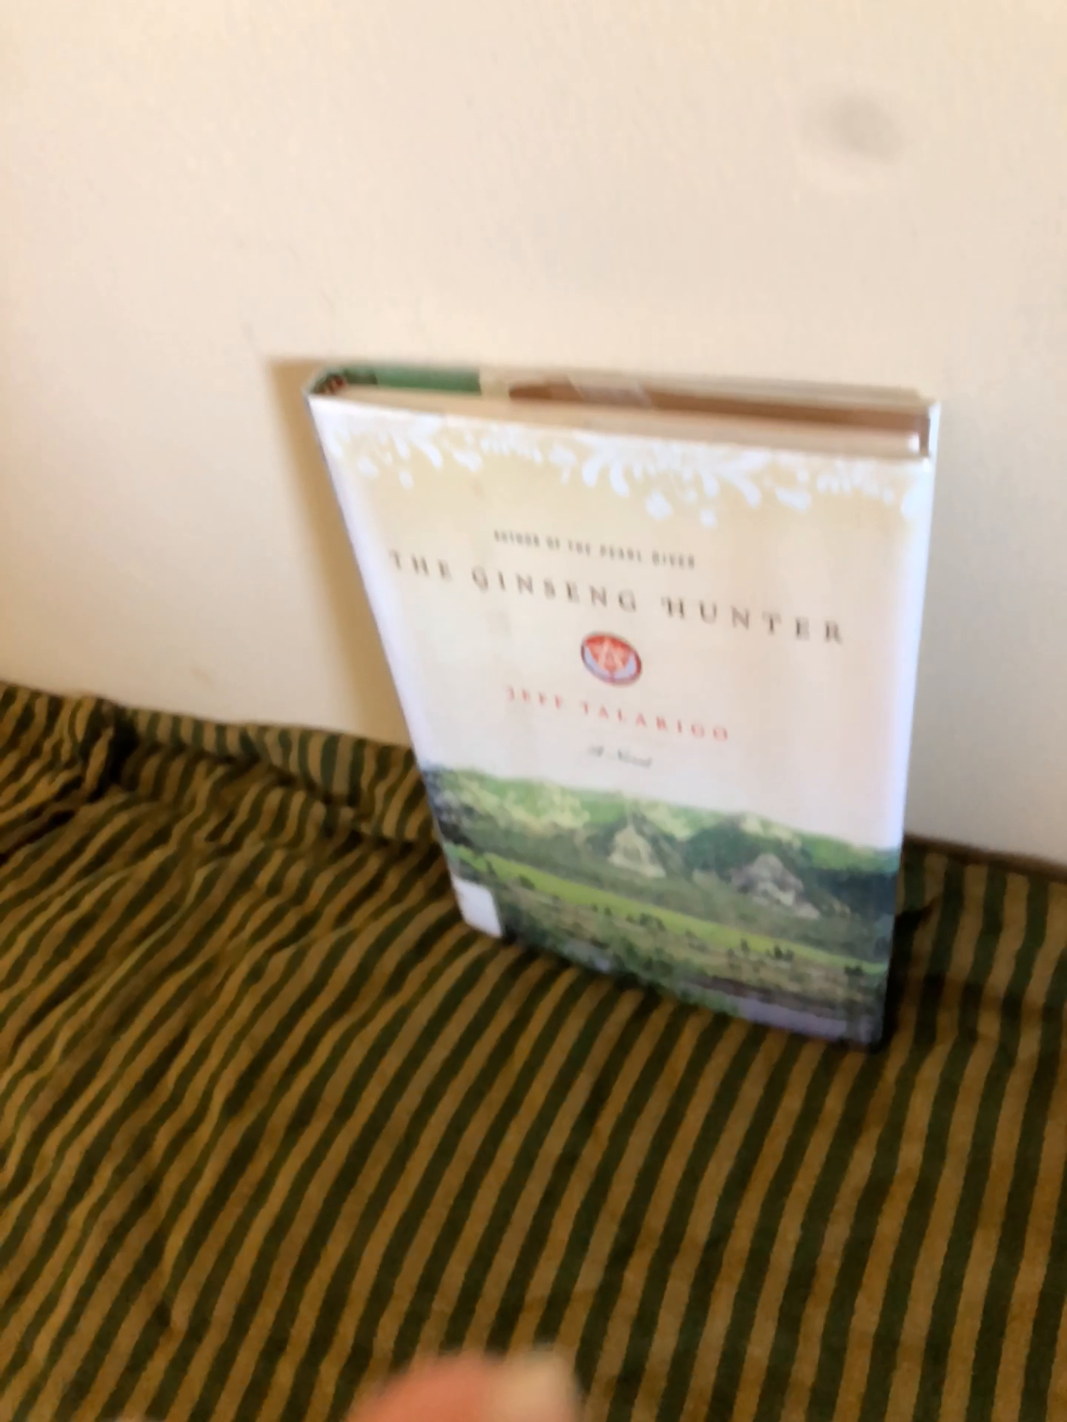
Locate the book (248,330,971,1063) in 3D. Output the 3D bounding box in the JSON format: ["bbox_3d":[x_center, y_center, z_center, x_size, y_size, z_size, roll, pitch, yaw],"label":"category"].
[{"bbox_3d":[0.023,0.009,0.303,0.137,0.203,0.029,12,50,20],"label":"book"}]
